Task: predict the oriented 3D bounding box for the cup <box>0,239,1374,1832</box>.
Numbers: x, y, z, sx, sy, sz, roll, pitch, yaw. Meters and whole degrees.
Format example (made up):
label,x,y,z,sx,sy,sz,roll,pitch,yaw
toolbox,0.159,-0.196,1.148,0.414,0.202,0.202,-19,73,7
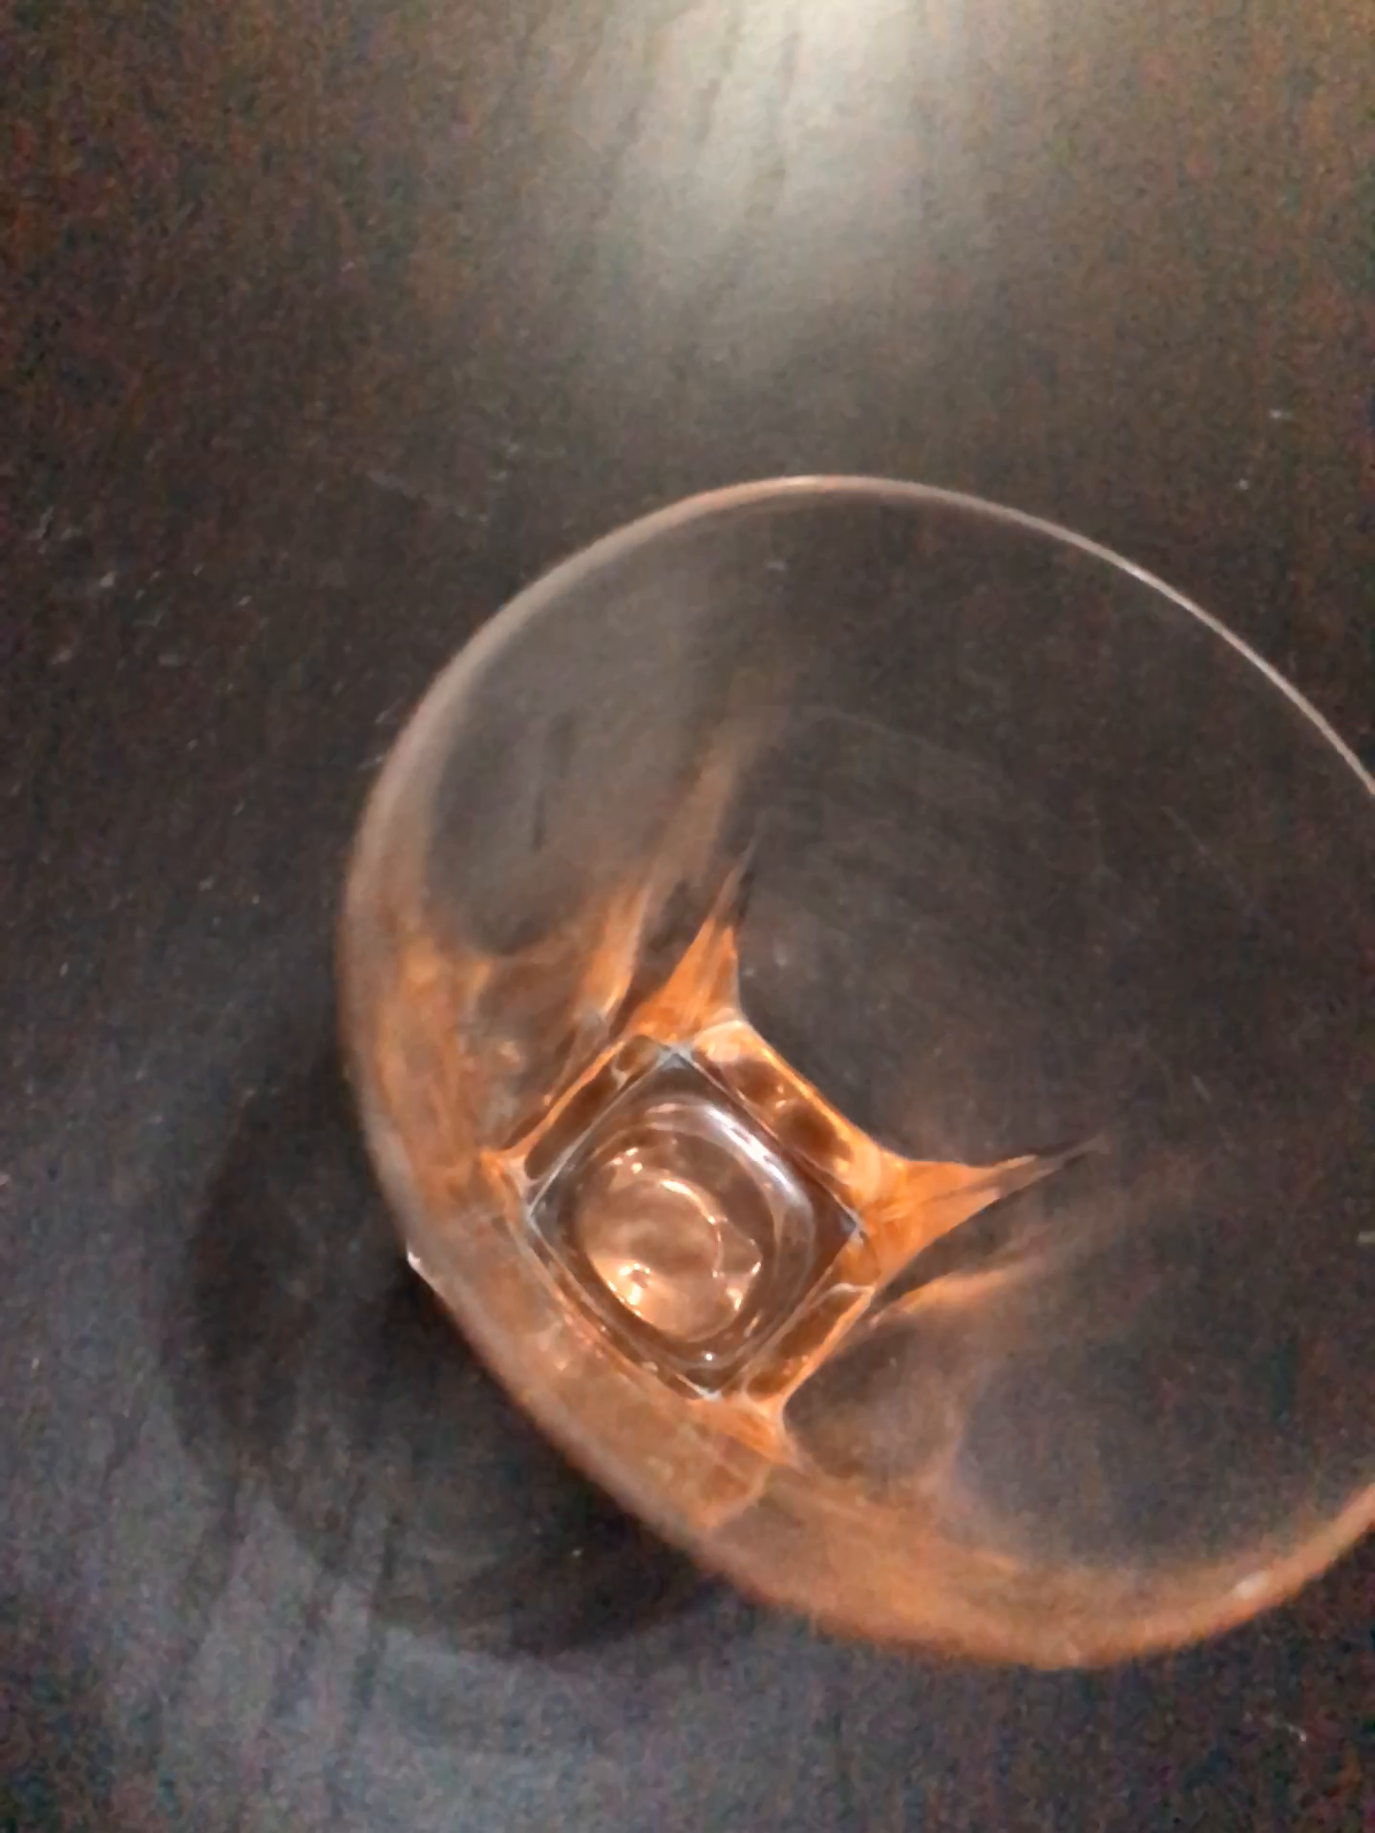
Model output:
label,x,y,z,sx,sy,sz,roll,pitch,yaw
cup,0.014,0.022,0.163,0.110,0.100,0.110,7,63,-15
